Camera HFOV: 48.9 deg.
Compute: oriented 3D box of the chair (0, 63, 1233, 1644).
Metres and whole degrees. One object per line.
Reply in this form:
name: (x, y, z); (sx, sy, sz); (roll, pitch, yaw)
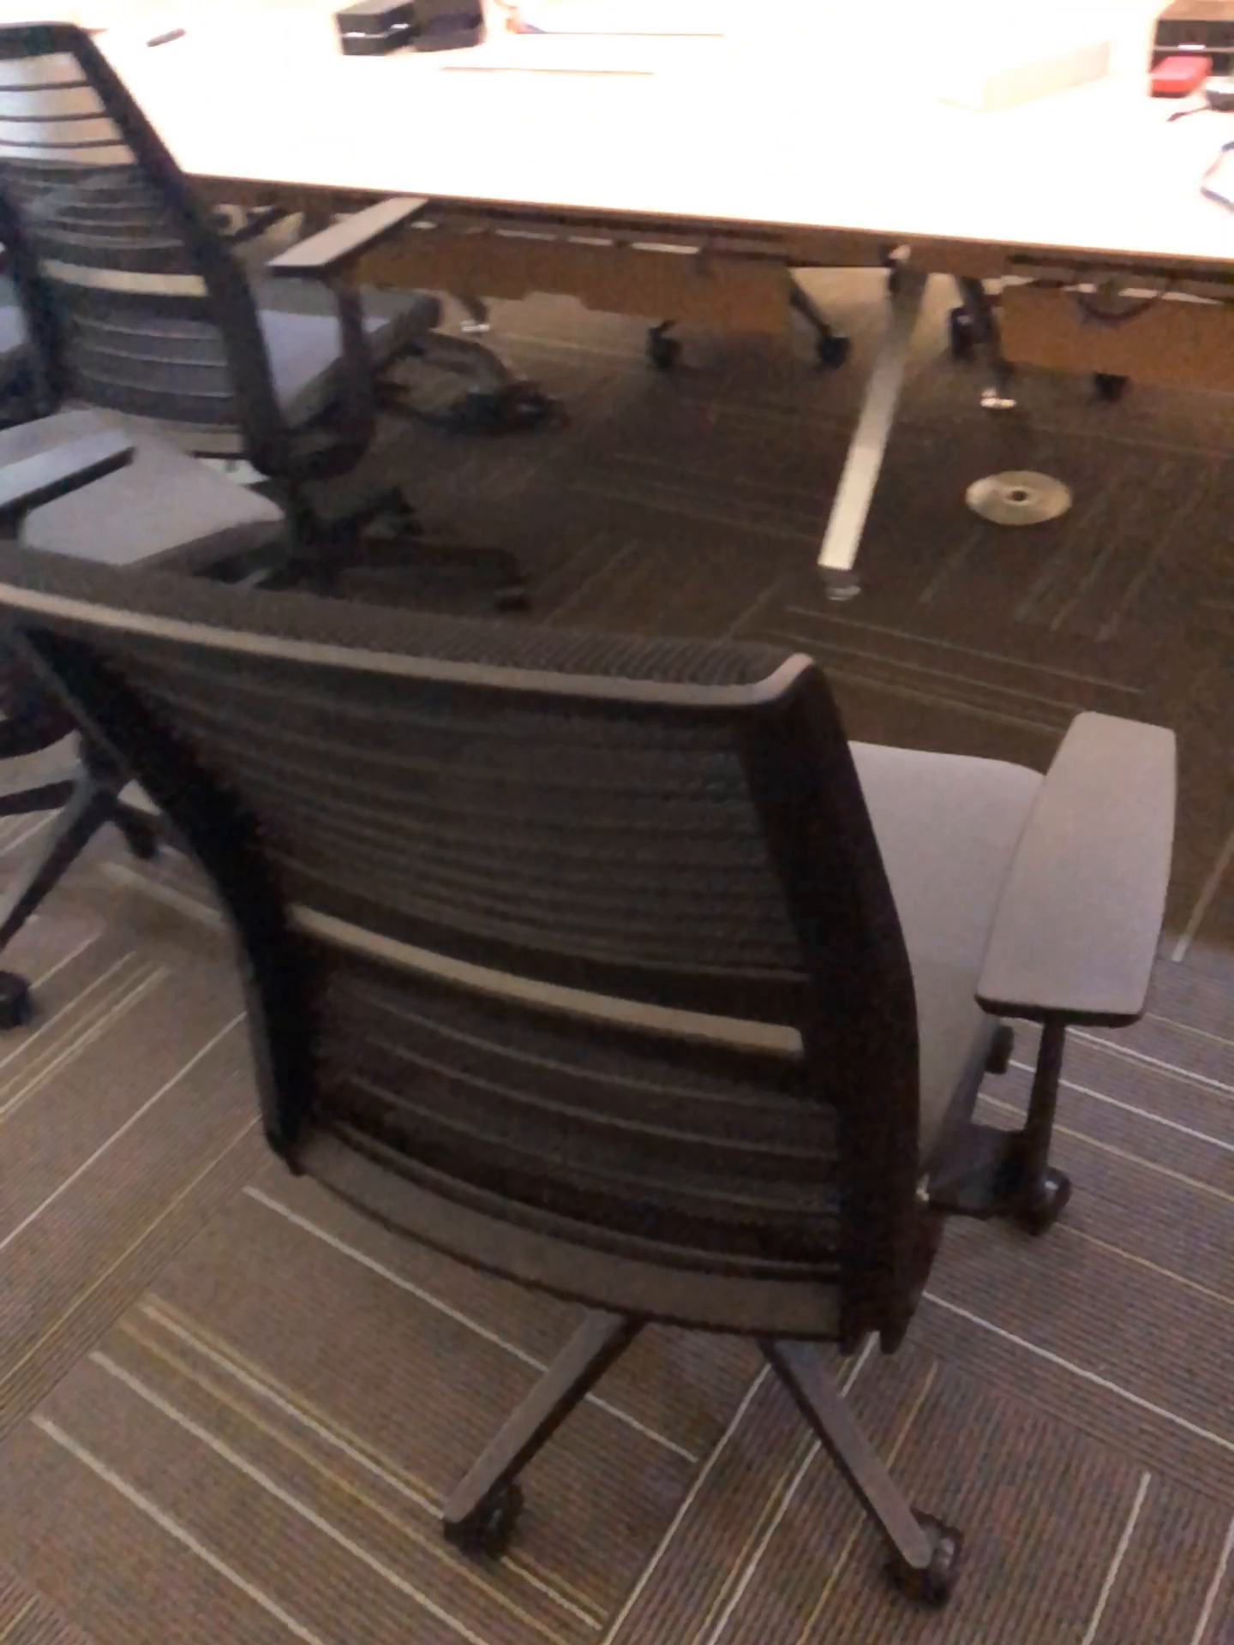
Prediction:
chair: (0.021, 0.045, 0.954); (0.721, 0.856, 0.662); (9, 43, 20)
